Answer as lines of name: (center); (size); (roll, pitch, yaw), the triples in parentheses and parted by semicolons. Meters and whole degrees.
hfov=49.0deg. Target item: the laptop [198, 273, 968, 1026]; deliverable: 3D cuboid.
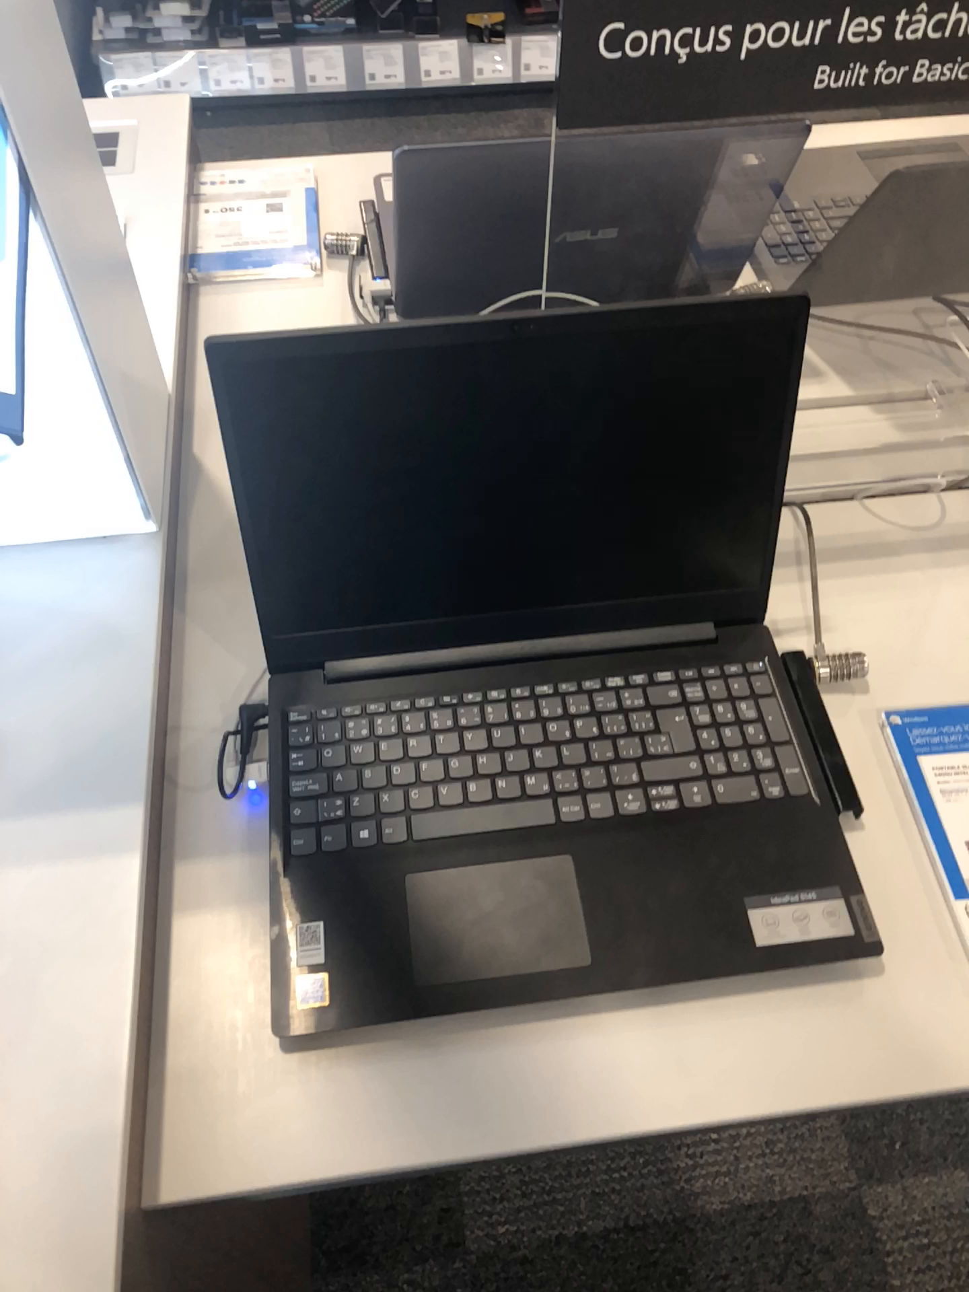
laptop: (0.035, -0.003, 0.607); (0.345, 0.213, 0.323); (-6, 56, -5)
